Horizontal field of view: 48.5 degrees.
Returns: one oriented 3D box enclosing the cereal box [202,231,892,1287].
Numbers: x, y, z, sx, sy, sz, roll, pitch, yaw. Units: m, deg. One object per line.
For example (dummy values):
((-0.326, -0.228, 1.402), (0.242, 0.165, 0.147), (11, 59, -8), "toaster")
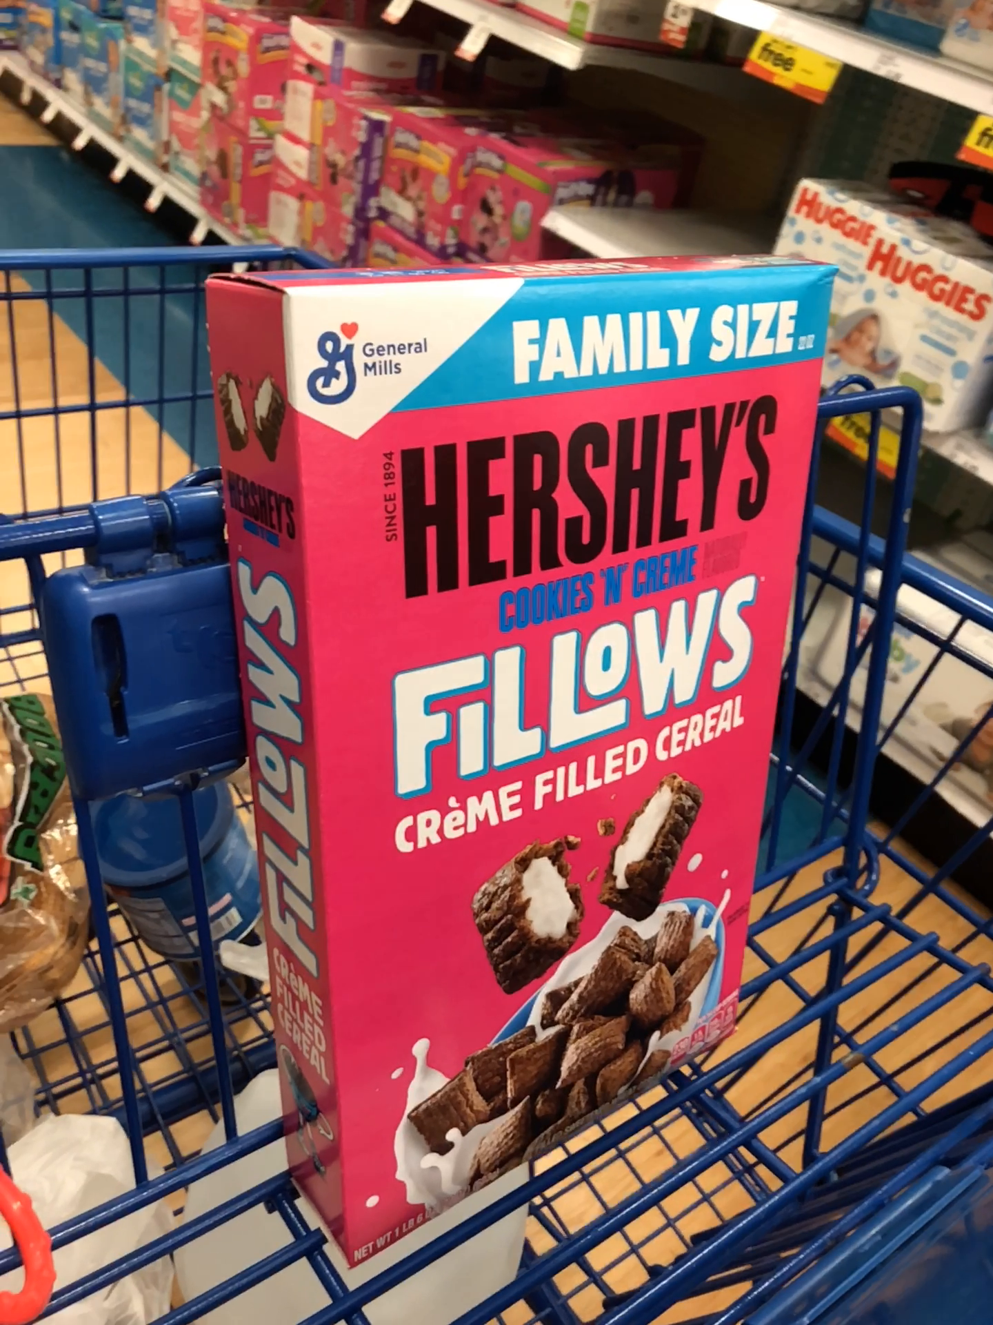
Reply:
((0.025, 0.020, 0.361), (0.200, 0.299, 0.060), (-15, 26, -34), "cereal box")
